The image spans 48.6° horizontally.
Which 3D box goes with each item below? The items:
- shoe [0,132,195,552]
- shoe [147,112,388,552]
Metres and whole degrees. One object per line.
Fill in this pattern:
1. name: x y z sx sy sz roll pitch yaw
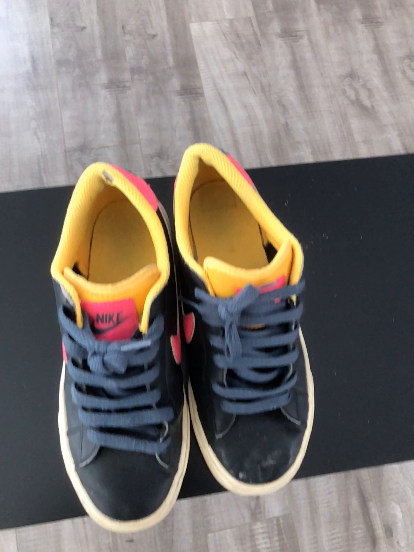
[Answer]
1. shoe: -0.063 0.042 0.305 0.095 0.100 0.244 -3 75 -2
2. shoe: 0.026 0.030 0.311 0.090 0.100 0.244 -9 76 -4
